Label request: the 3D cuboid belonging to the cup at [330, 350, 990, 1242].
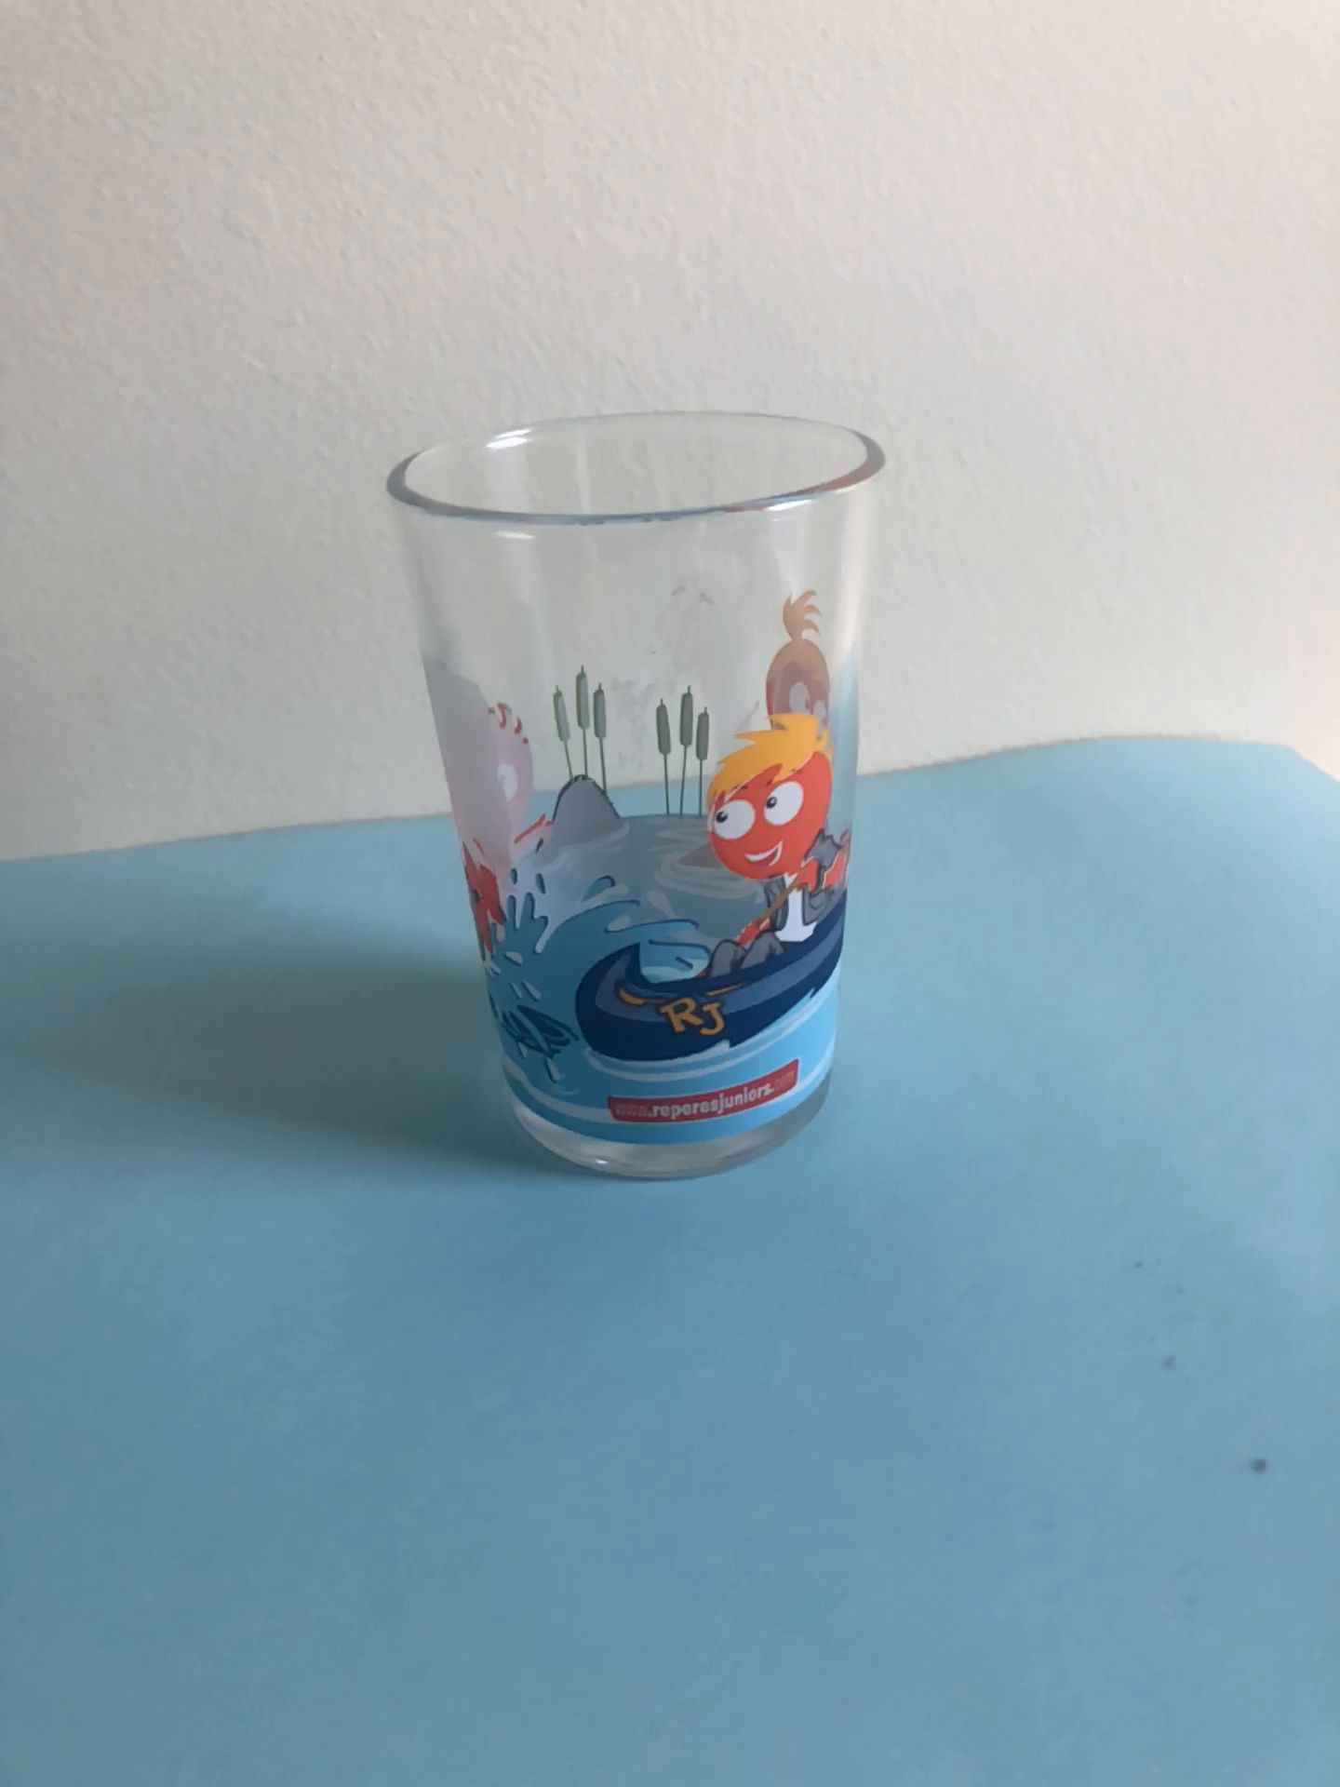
[{"bbox_3d":[-0.001,-0.018,0.211,0.060,0.099,0.060,-2,27,1],"label":"cup"}]
